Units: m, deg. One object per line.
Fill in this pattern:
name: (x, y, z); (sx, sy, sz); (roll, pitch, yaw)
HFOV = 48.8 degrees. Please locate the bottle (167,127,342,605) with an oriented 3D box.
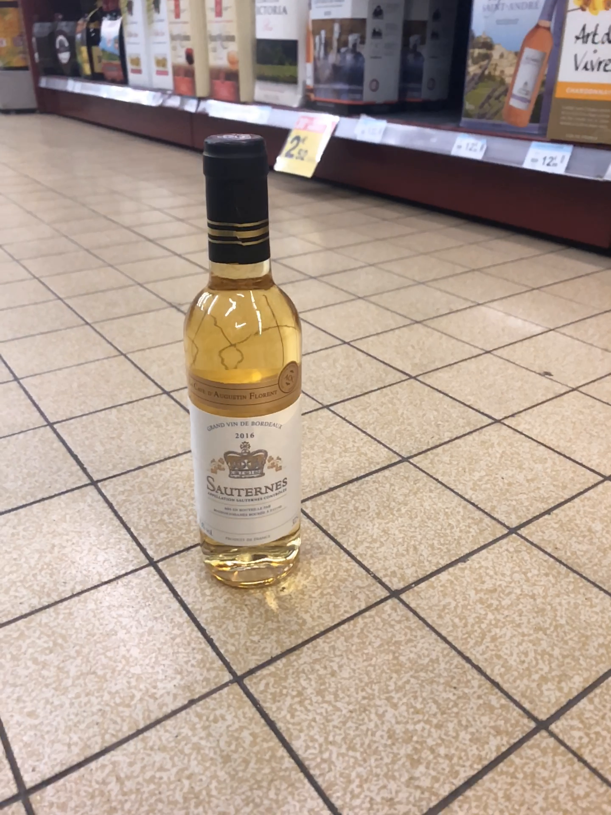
bottle: (-0.025, -0.015, 0.354); (0.070, 0.239, 0.070); (0, 27, 0)
